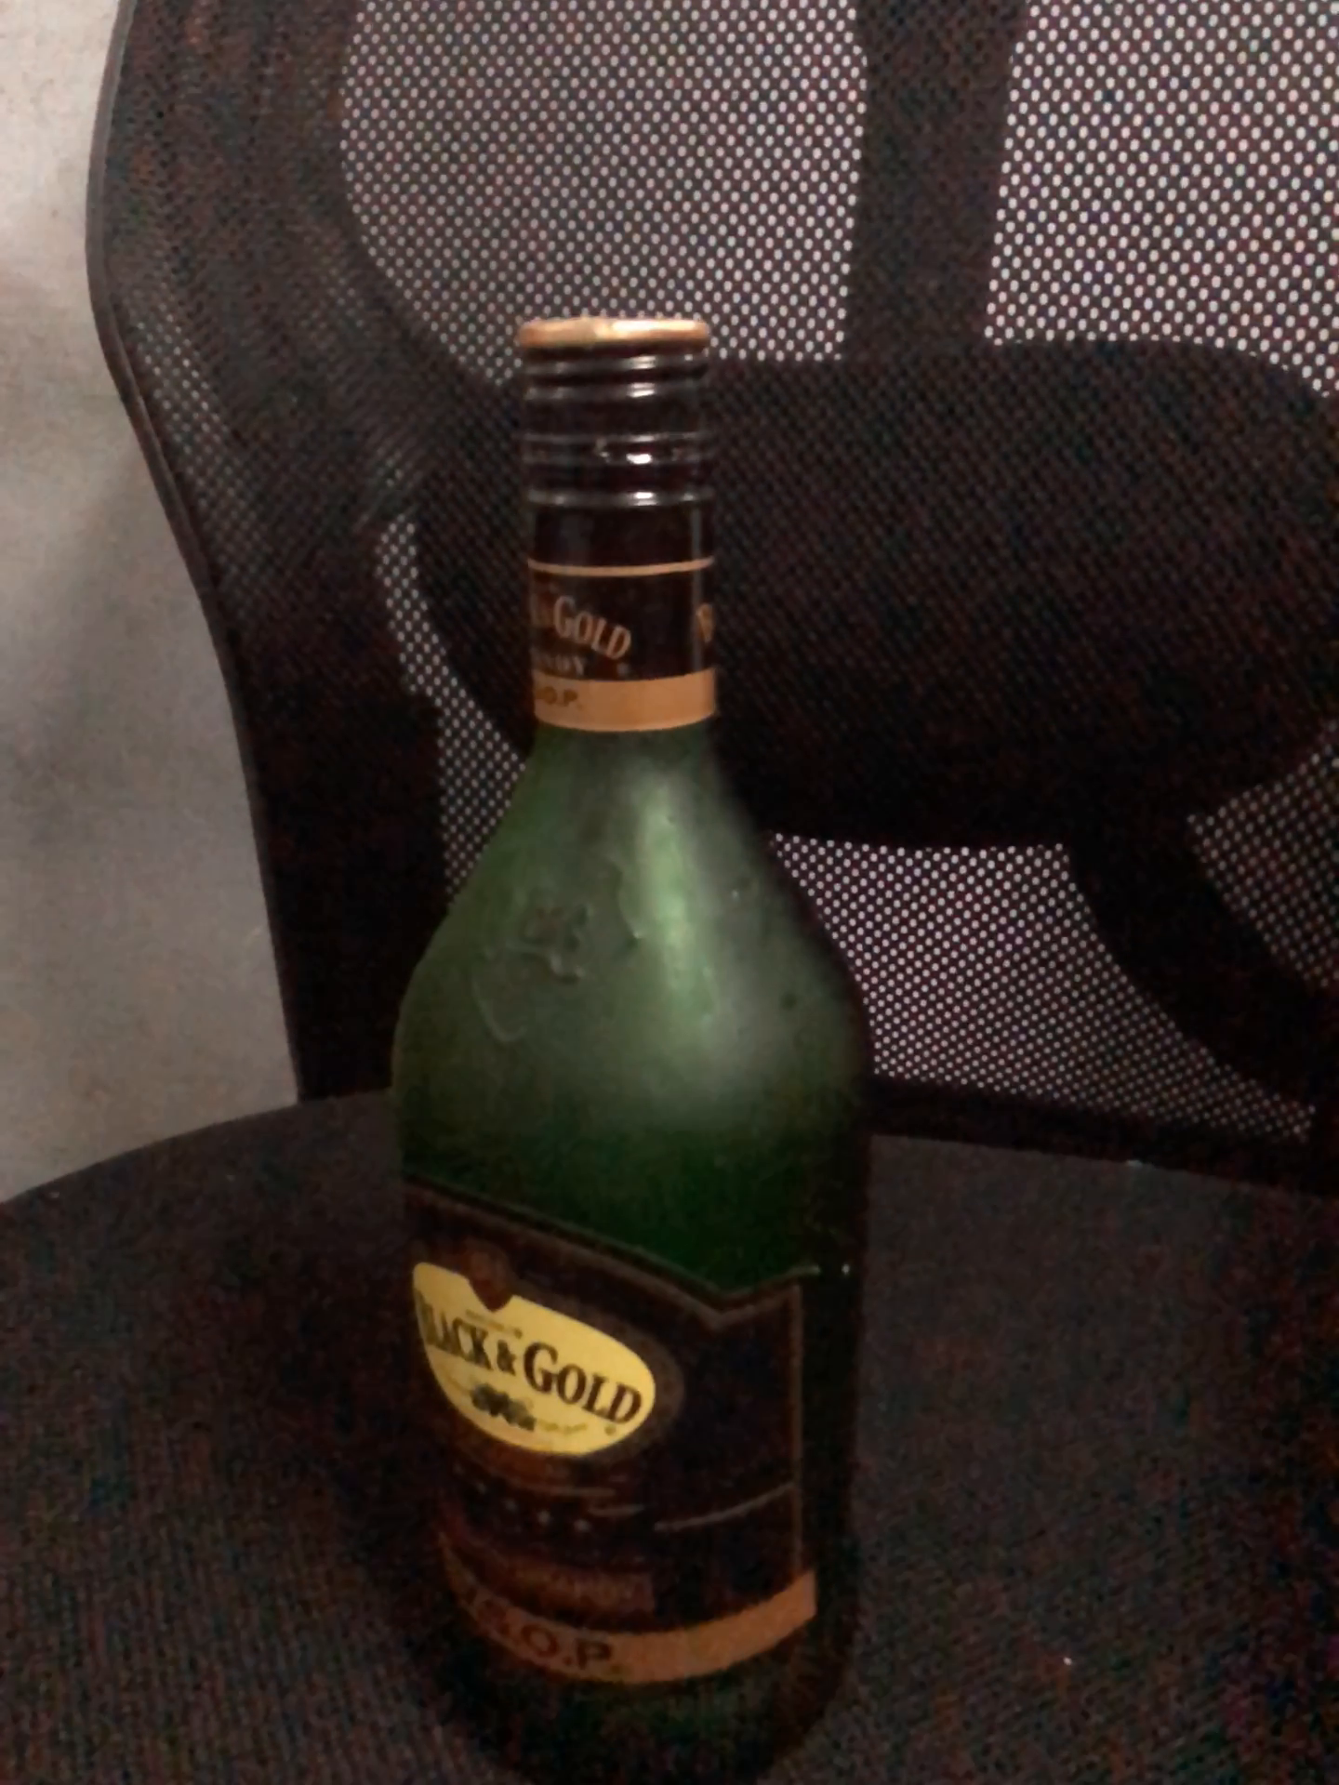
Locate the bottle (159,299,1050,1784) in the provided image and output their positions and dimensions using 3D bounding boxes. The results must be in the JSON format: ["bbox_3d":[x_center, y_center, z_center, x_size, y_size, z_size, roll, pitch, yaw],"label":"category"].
[{"bbox_3d":[-0.010,0.035,0.276,0.110,0.269,0.080,14,26,31],"label":"bottle"}]
